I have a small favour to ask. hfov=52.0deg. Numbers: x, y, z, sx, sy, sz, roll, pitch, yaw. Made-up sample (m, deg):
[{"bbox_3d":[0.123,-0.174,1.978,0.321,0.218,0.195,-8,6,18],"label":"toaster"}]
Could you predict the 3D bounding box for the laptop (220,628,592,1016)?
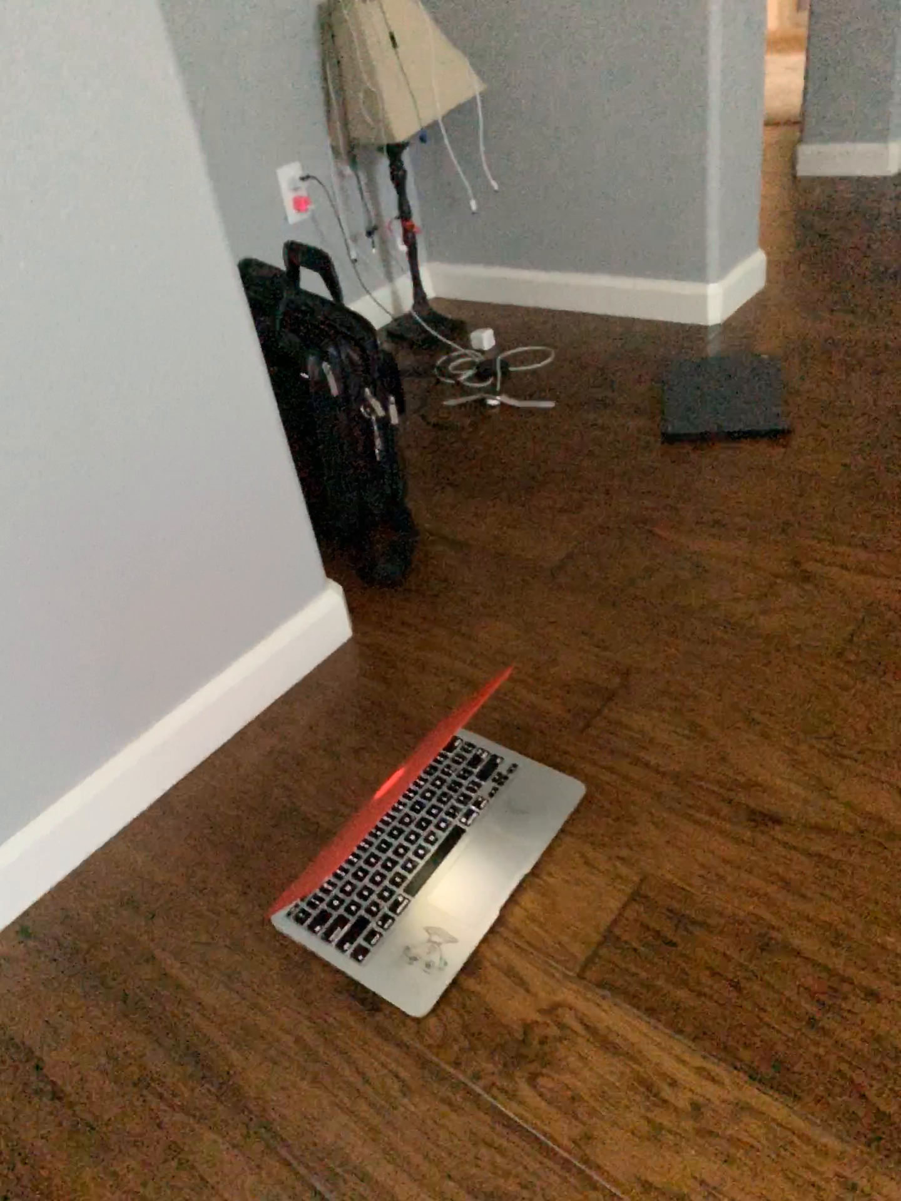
[{"bbox_3d":[-0.027,0.192,0.894,0.198,0.139,0.302,17,42,32],"label":"laptop"}]
